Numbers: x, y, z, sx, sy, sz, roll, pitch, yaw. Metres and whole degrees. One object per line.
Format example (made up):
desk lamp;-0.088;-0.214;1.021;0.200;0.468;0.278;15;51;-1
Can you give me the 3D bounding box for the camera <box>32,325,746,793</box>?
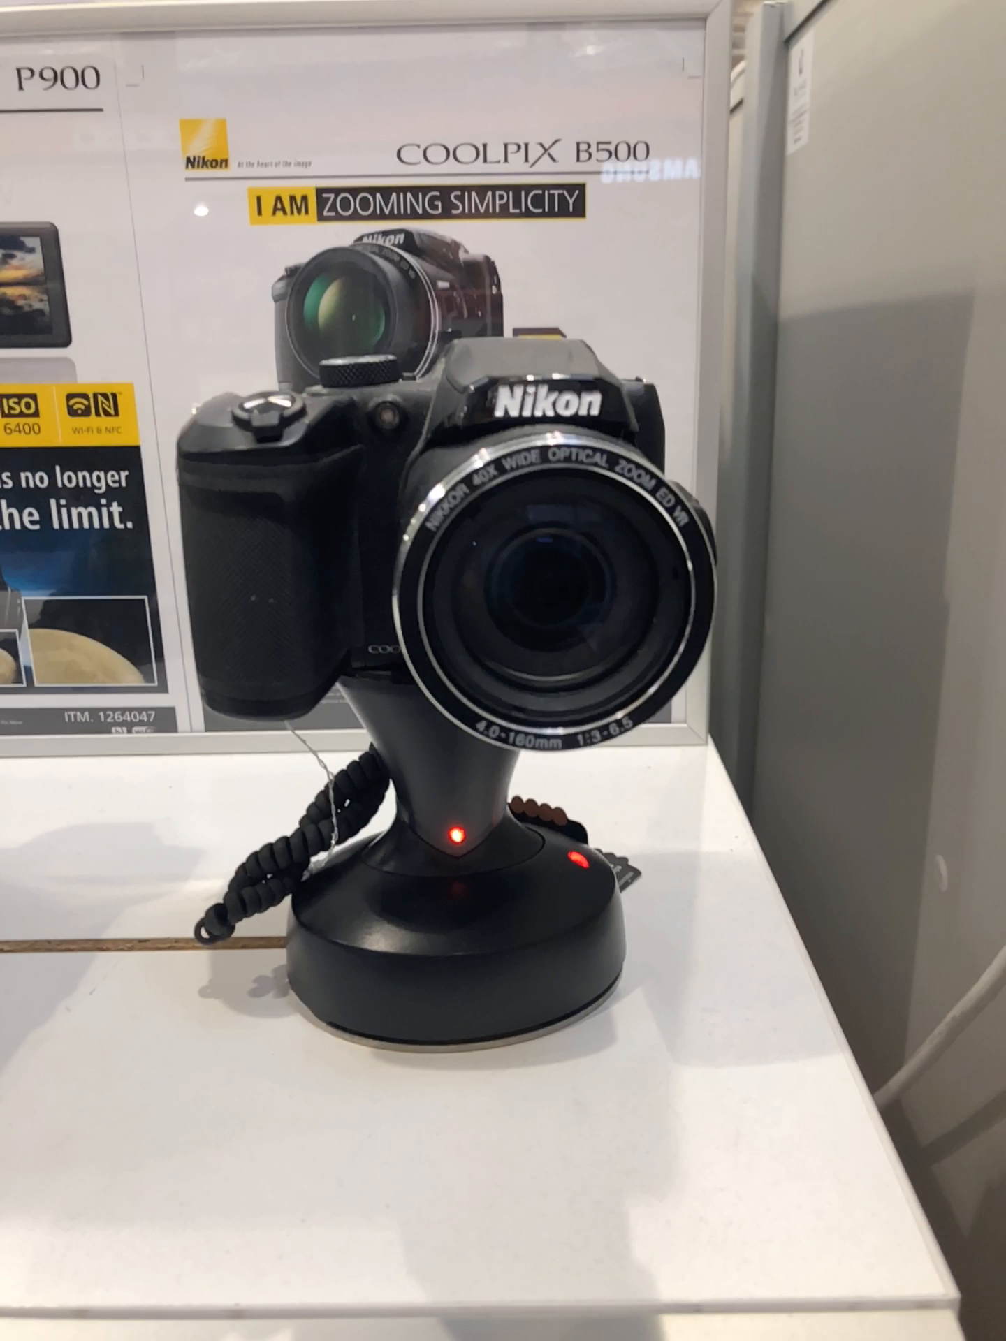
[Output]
camera;-0.020;-0.031;0.242;0.120;0.080;0.090;-2;18;-2
